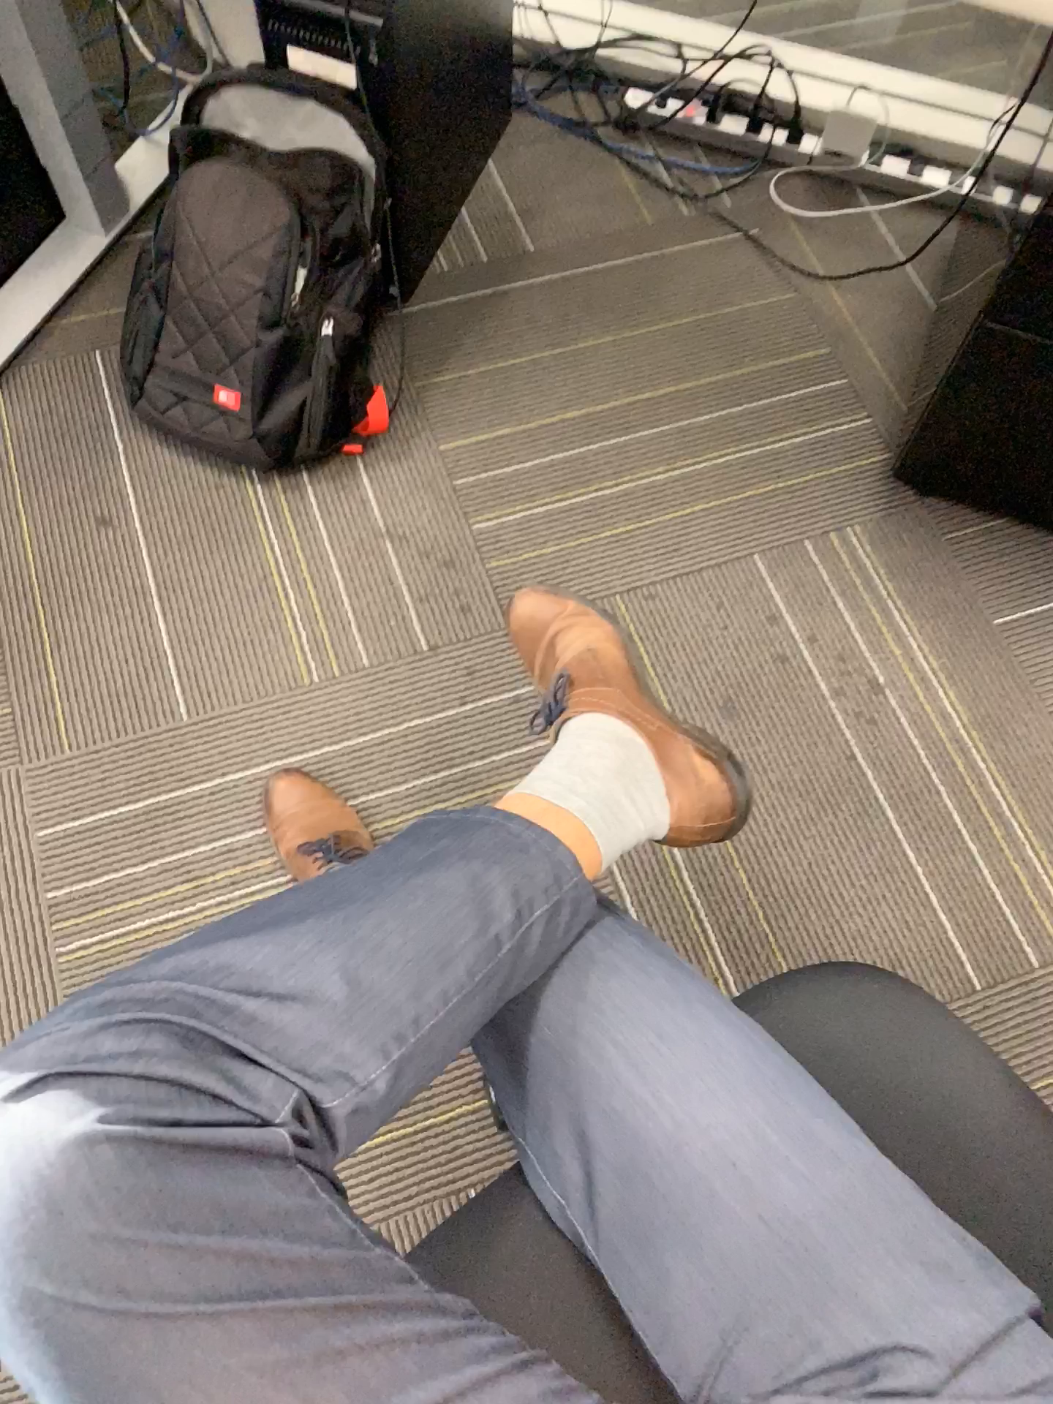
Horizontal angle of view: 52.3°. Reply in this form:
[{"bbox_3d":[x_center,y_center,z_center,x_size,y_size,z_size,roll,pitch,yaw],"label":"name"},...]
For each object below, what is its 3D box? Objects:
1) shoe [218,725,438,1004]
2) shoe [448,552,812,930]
[{"bbox_3d":[-0.216,0.173,1.168,0.112,0.068,0.276,-29,70,-15],"label":"shoe"},{"bbox_3d":[0.071,0.022,0.857,0.082,0.114,0.294,-17,56,-43],"label":"shoe"}]
